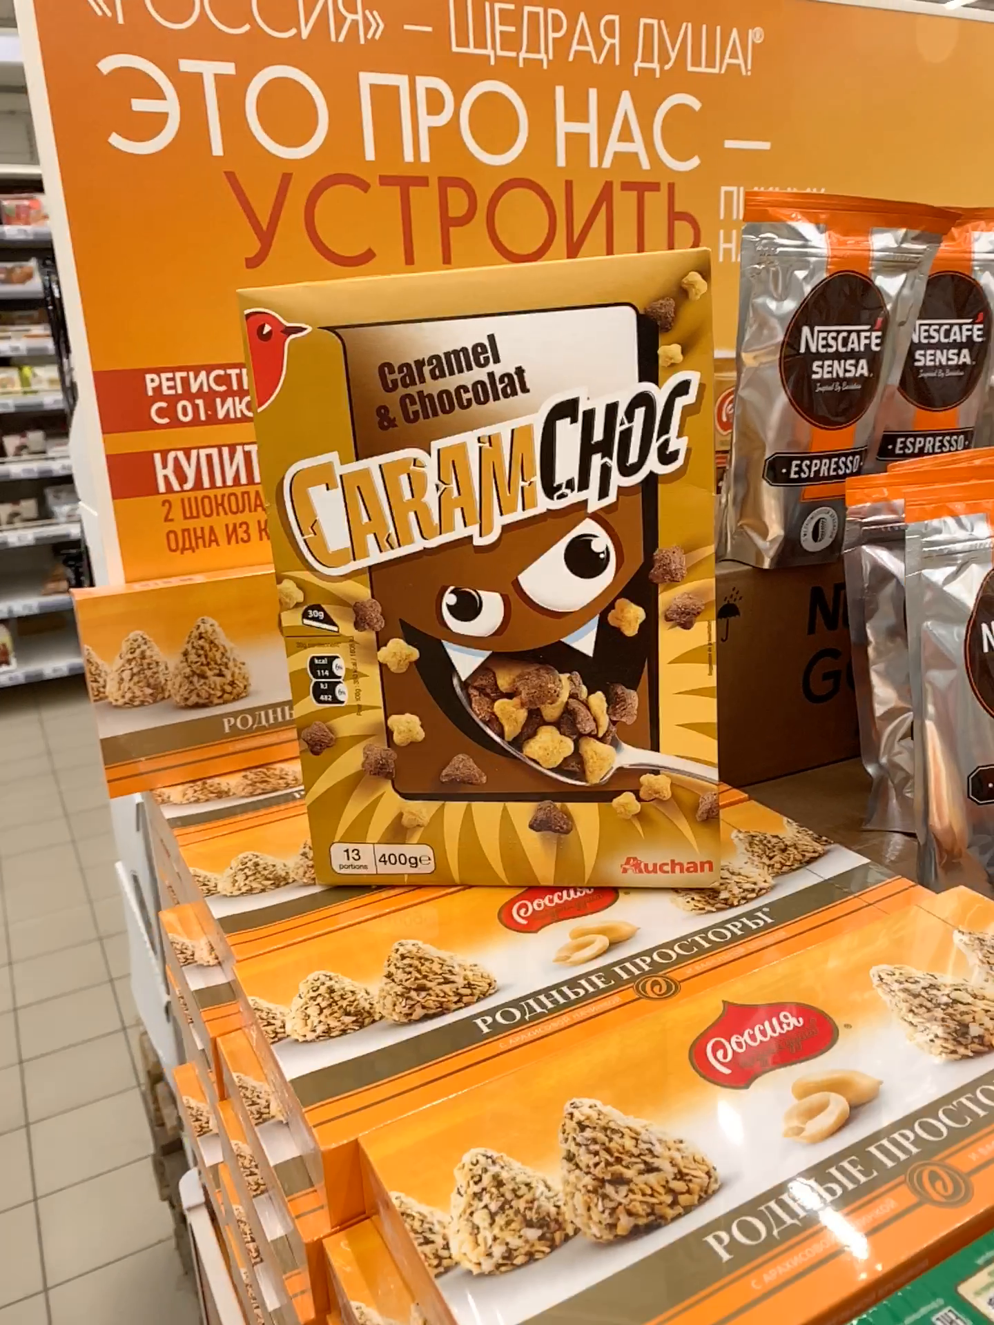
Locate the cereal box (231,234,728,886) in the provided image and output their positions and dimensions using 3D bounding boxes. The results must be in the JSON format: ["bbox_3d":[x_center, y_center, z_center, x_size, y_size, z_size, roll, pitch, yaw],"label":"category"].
[{"bbox_3d":[0.002,-0.038,0.478,0.200,0.279,0.060,-2,16,9],"label":"cereal box"}]
